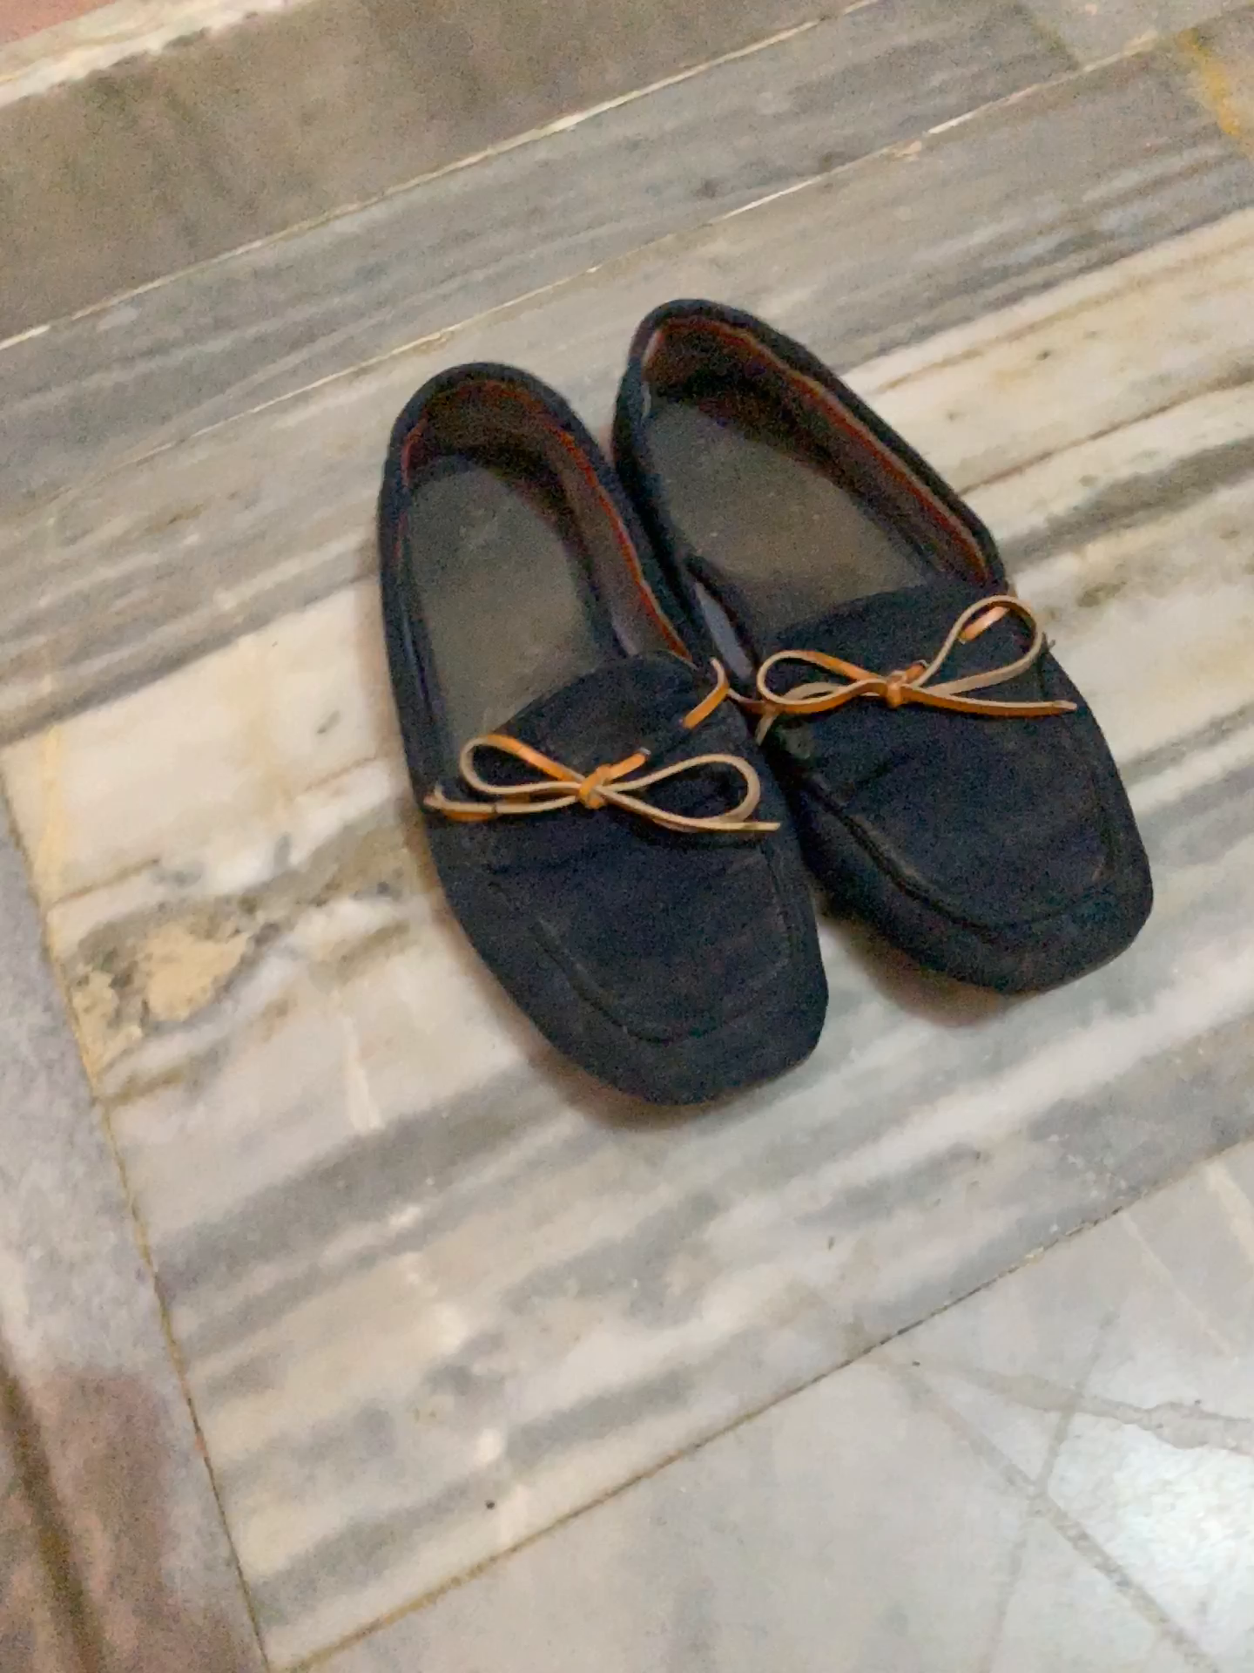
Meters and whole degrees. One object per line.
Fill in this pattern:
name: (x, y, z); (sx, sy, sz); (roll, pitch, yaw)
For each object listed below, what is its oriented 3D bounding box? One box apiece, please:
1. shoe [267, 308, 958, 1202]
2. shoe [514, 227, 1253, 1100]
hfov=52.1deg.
shoe: (-0.017, -0.040, 0.429); (0.120, 0.070, 0.280); (-21, 64, -6)
shoe: (0.079, -0.075, 0.452); (0.120, 0.070, 0.300); (-25, 64, -8)
